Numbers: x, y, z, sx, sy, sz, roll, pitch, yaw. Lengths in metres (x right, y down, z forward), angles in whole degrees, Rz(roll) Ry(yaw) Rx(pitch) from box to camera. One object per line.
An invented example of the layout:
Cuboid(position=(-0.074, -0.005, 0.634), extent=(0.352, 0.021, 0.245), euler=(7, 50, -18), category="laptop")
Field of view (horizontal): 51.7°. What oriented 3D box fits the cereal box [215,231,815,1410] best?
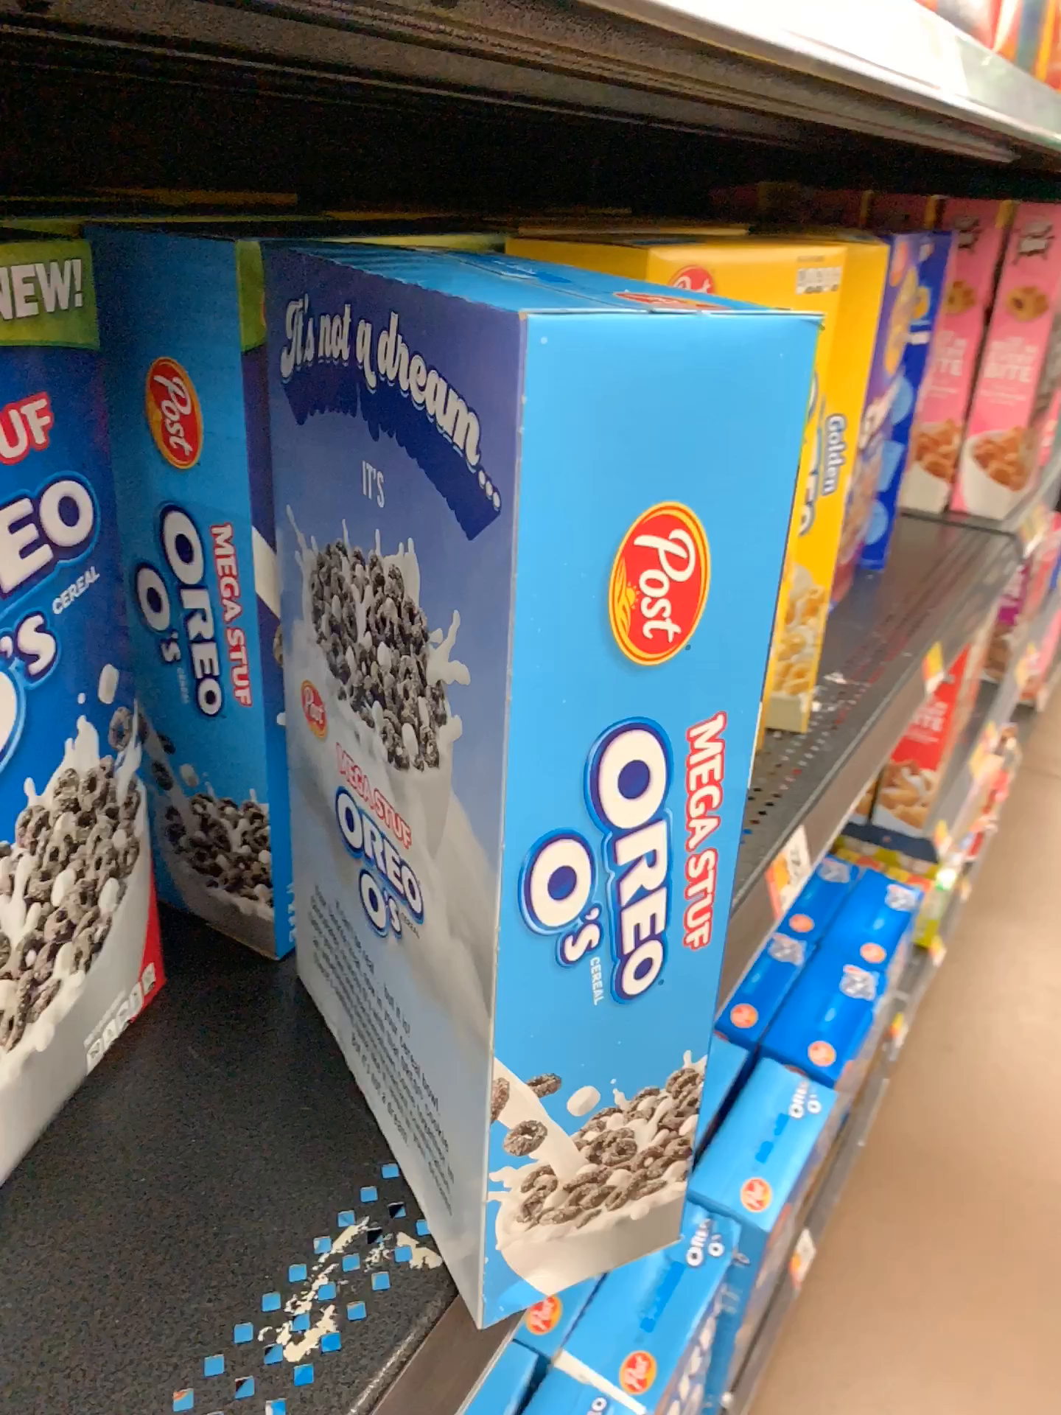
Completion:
Cuboid(position=(-0.032, 0.024, 0.376), extent=(0.080, 0.328, 0.211), euler=(-10, 29, -27), category="cereal box")
